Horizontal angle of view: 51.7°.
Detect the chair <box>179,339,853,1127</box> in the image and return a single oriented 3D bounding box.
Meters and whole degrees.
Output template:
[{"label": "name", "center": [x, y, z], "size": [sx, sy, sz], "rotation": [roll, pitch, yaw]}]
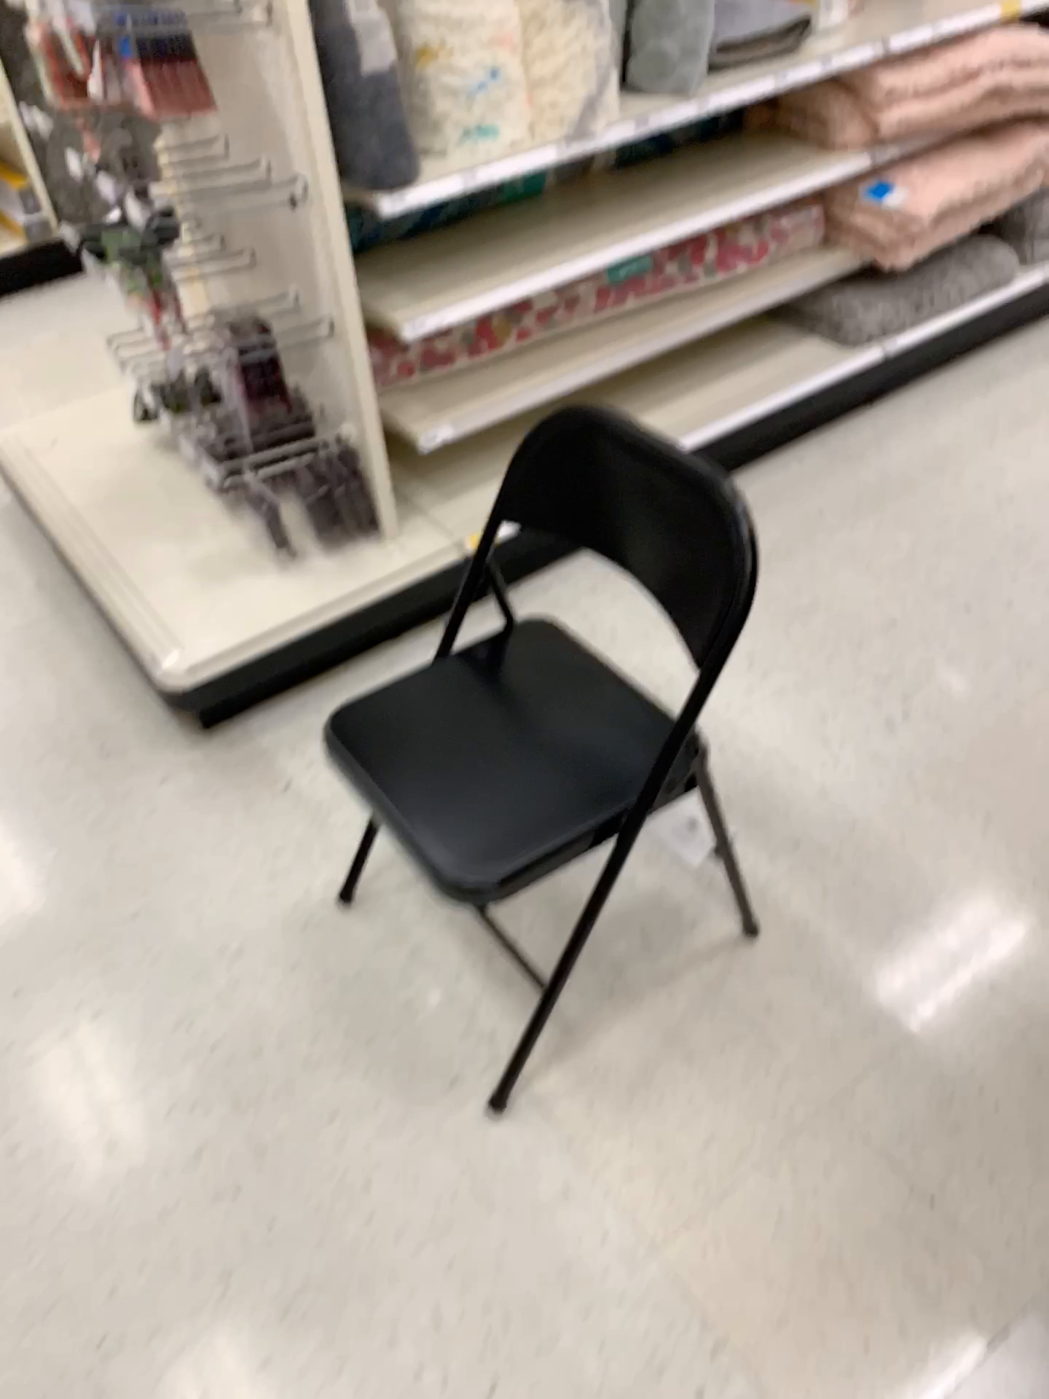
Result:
[{"label": "chair", "center": [0.005, 0.035, 1.411], "size": [0.551, 0.716, 0.492], "rotation": [-28, 47, -23]}]
